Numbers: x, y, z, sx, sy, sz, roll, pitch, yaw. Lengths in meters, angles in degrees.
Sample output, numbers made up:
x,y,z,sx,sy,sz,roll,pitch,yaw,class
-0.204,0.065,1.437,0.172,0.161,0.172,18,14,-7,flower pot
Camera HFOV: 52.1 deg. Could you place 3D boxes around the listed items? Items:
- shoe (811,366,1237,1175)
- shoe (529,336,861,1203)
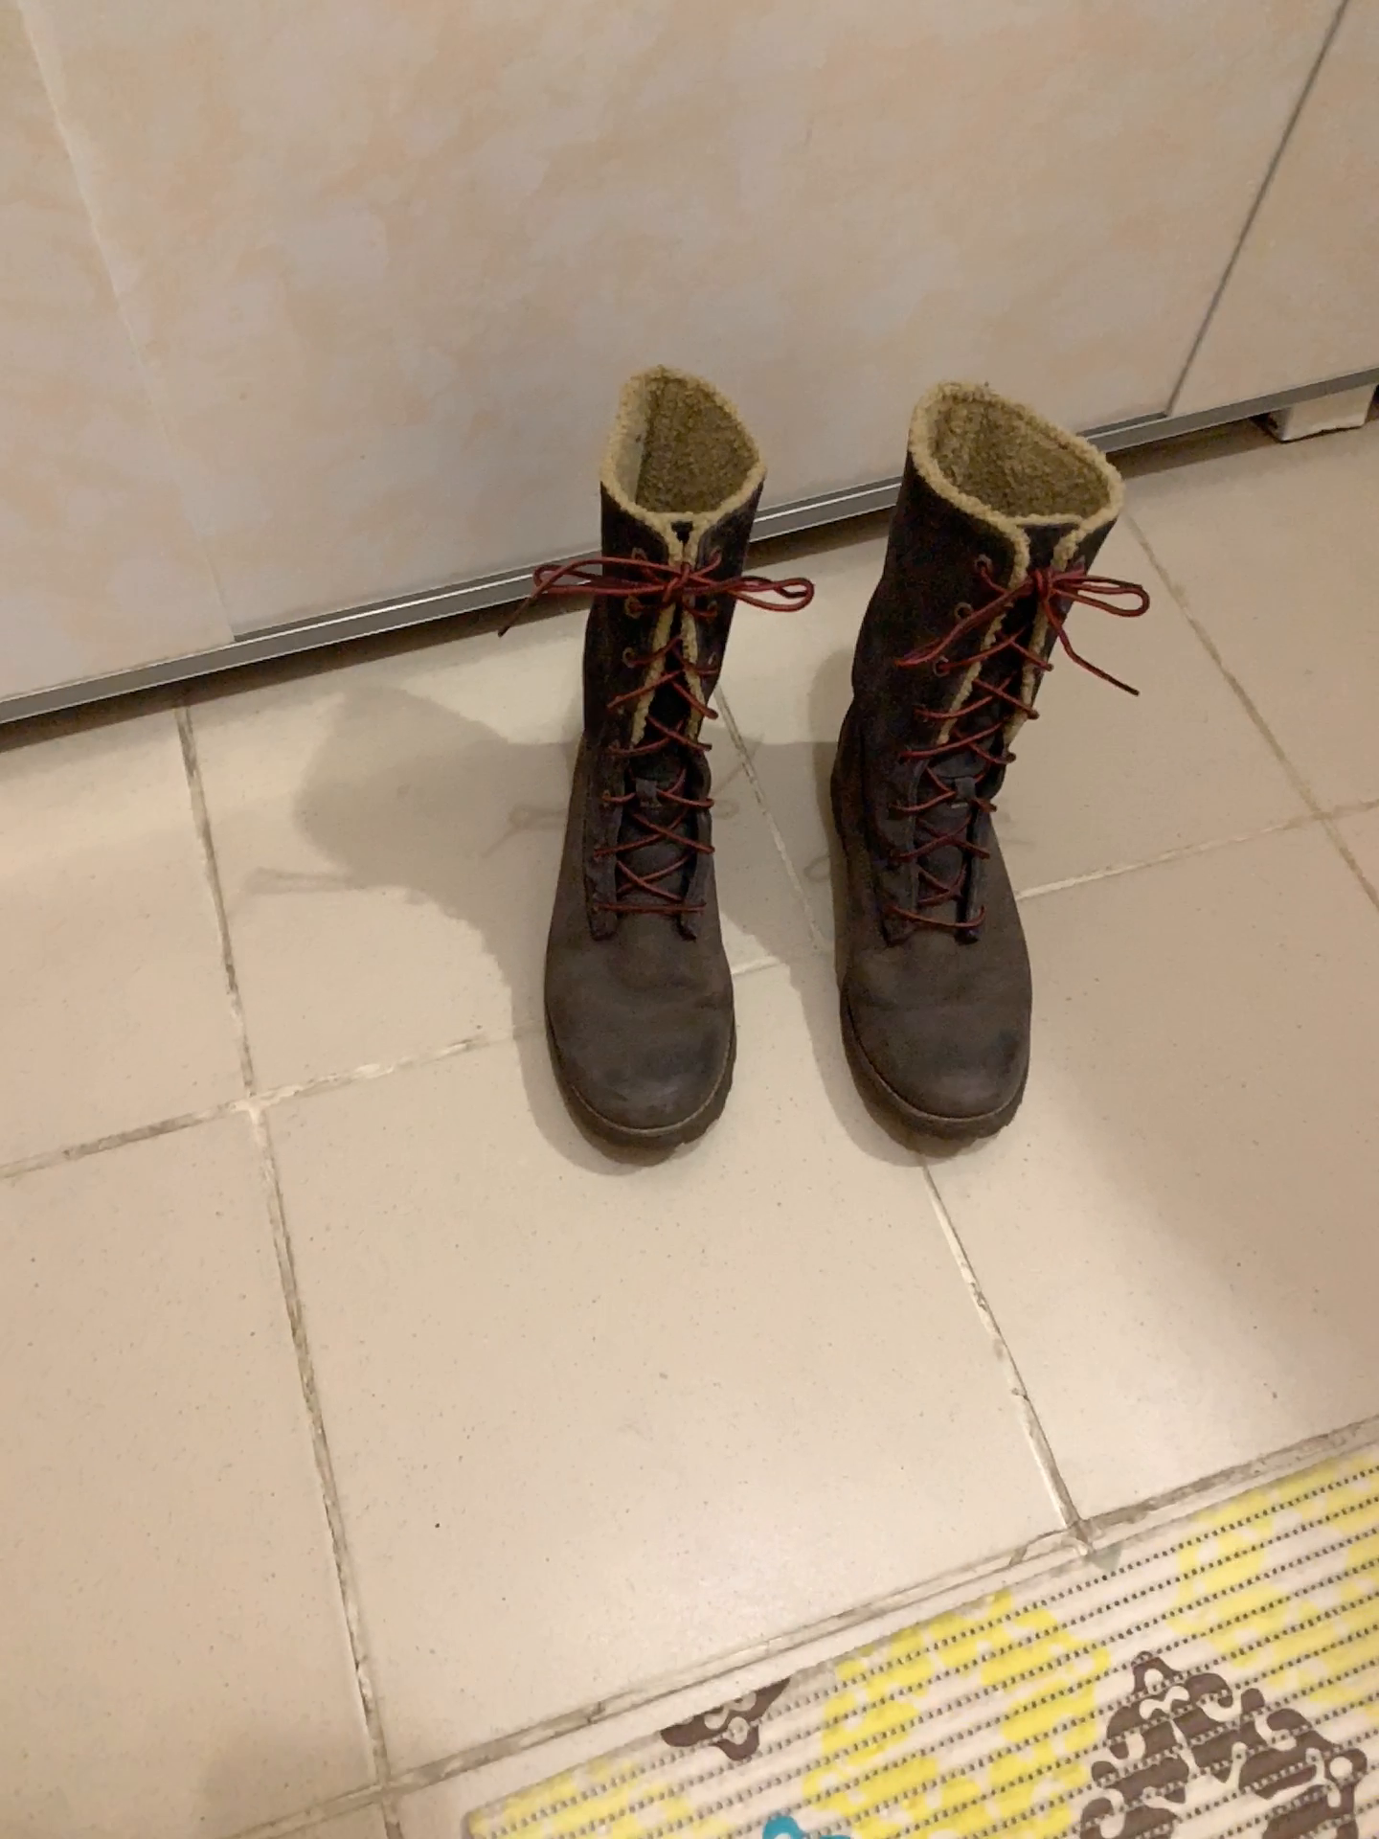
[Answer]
x,y,z,sx,sy,sz,roll,pitch,yaw,class
0.130,-0.056,0.659,0.100,0.249,0.281,-4,63,-1,shoe
-0.010,-0.053,0.619,0.100,0.249,0.281,3,60,-6,shoe
